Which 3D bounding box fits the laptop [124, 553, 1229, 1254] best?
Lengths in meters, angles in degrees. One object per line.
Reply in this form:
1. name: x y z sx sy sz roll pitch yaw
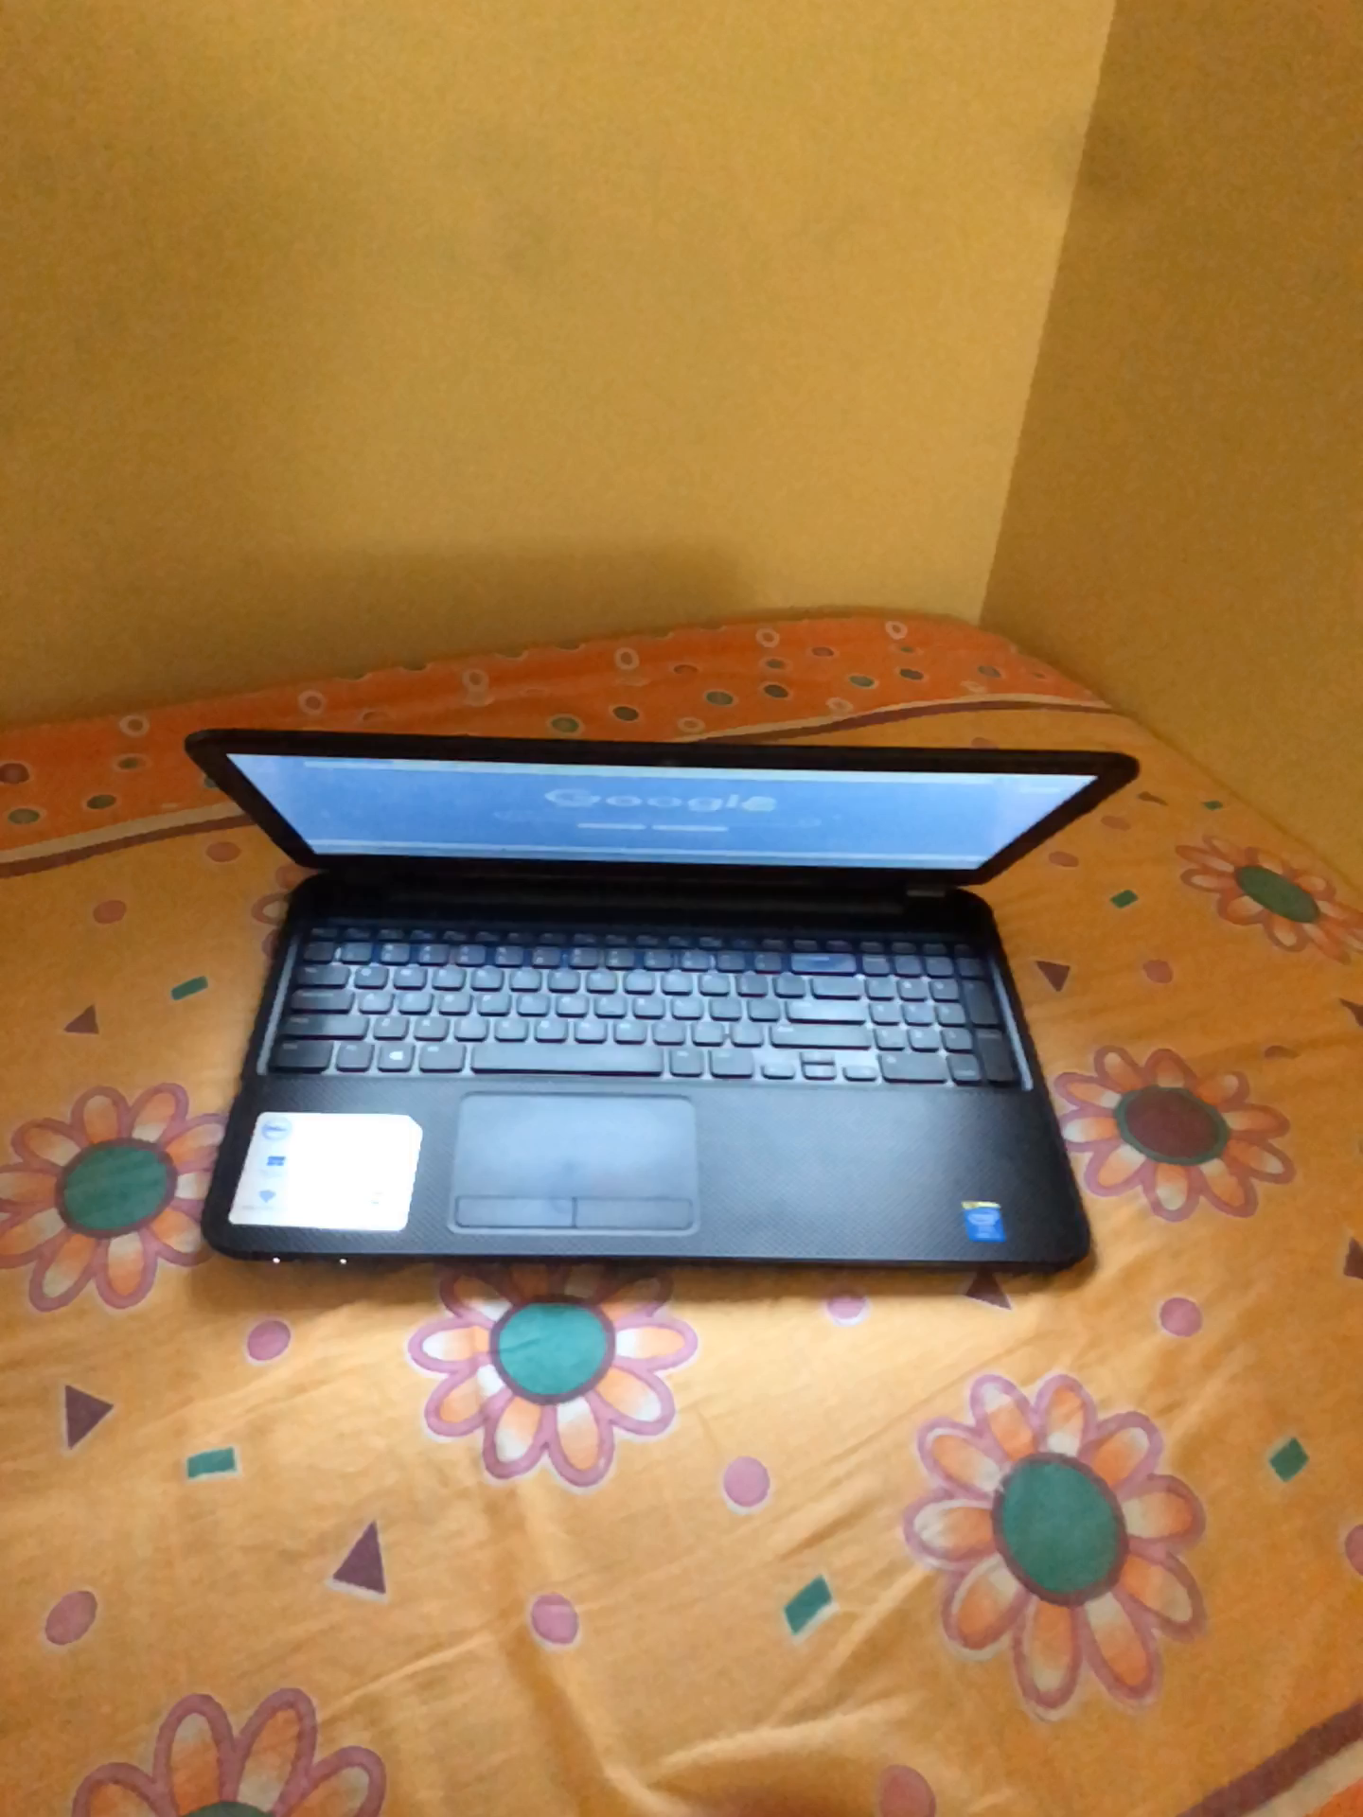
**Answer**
1. laptop: -0.008 -0.007 0.648 0.366 0.190 0.239 1 40 -3
